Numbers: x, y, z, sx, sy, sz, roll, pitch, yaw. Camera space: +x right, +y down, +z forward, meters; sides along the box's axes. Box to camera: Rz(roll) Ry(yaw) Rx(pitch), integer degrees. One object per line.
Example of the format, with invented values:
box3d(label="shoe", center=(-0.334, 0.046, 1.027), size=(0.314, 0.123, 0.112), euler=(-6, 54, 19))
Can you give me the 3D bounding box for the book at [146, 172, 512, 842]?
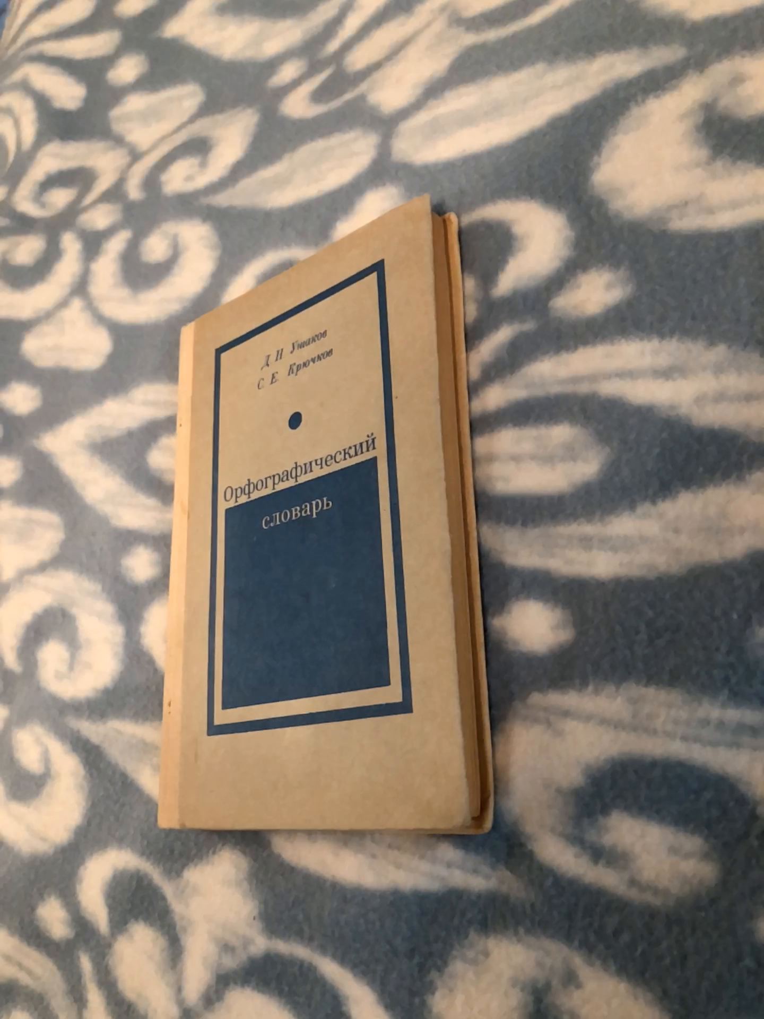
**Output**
box3d(label="book", center=(-0.027, 0.003, 0.301), size=(0.137, 0.022, 0.210), euler=(-16, 67, 37))
